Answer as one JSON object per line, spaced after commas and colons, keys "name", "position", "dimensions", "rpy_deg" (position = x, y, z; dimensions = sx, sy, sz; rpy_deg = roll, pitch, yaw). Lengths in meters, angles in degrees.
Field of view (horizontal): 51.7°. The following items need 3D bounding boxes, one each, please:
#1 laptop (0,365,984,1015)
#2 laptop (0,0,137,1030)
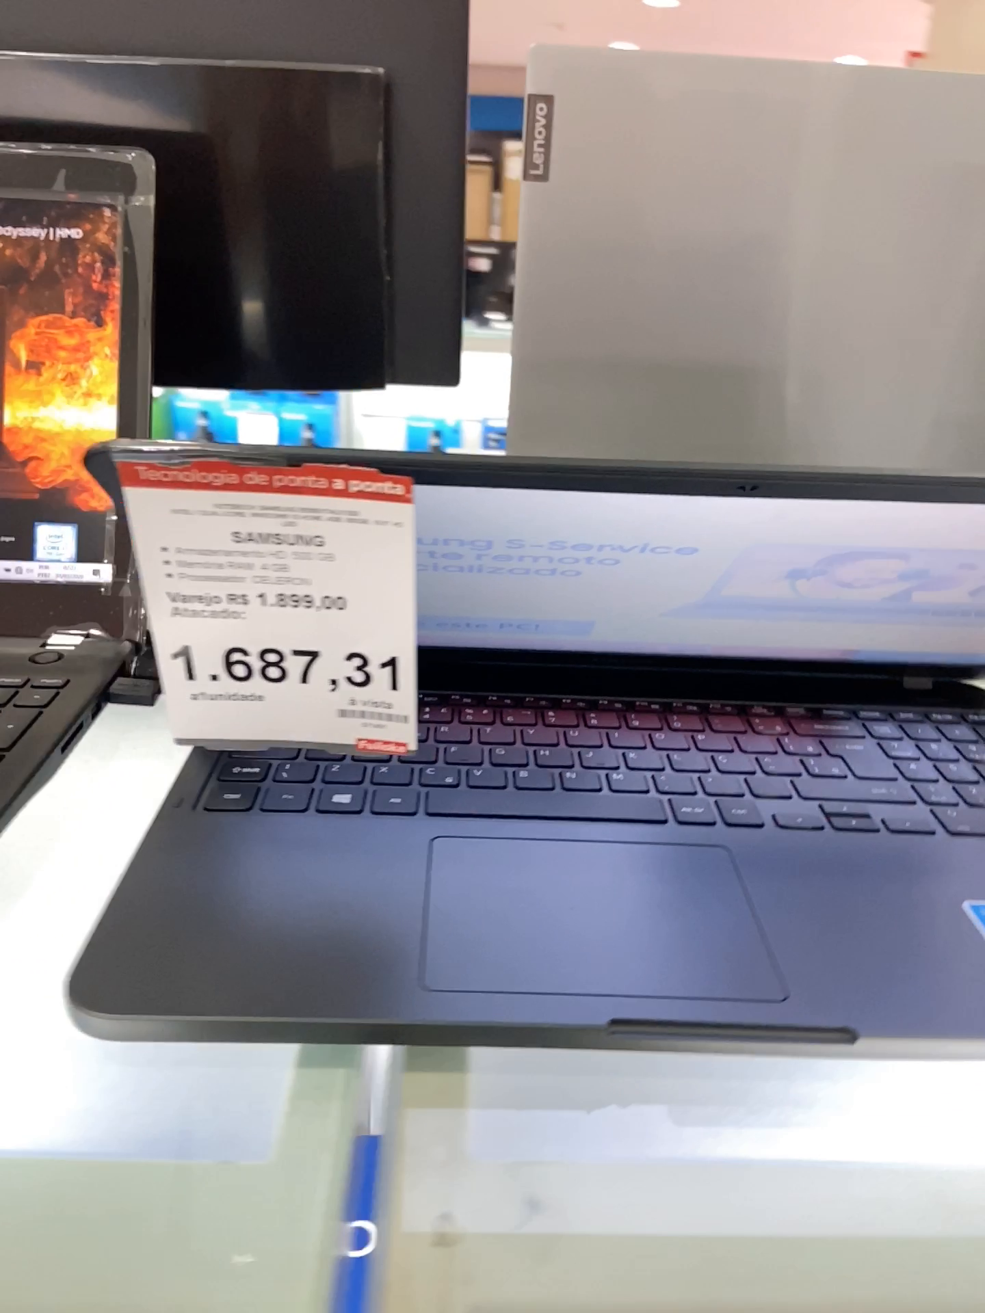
{"name": "laptop", "position": [0.066, -0.012, 0.370], "dimensions": [0.367, 0.140, 0.236], "rpy_deg": [2, 22, -3]}
{"name": "laptop", "position": [-0.374, -0.095, 0.391], "dimensions": [0.394, 0.223, 0.373], "rpy_deg": [2, 22, -5]}
